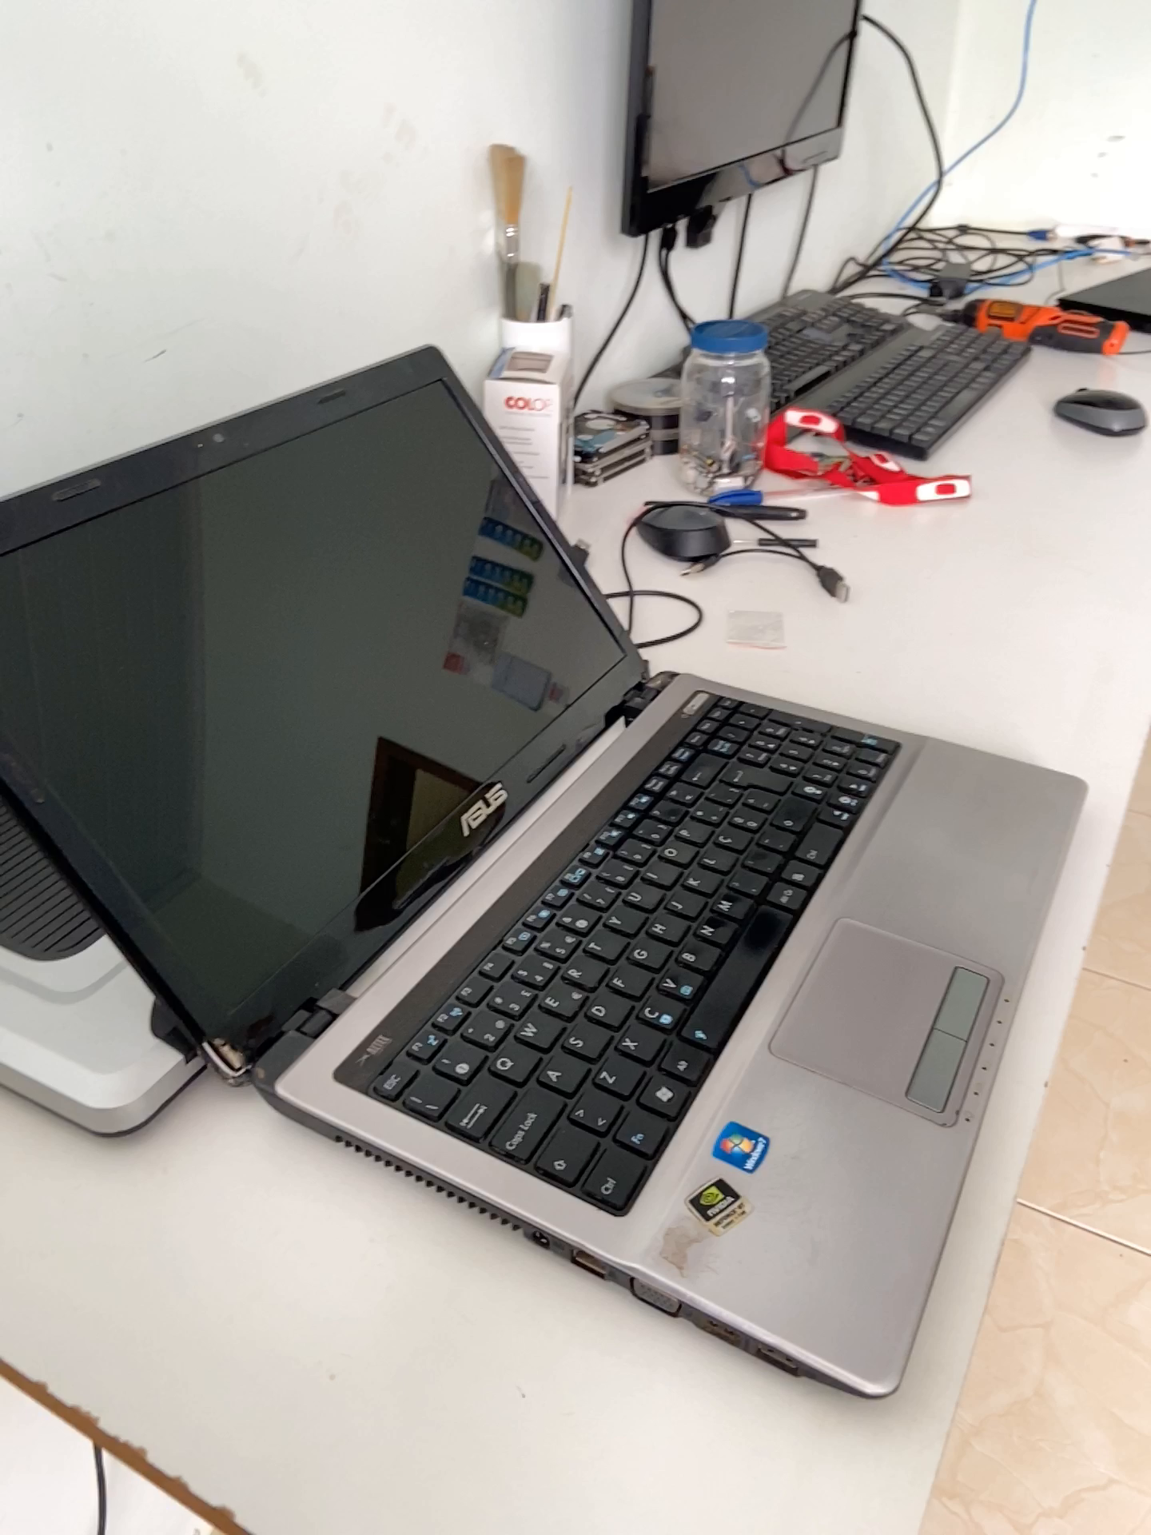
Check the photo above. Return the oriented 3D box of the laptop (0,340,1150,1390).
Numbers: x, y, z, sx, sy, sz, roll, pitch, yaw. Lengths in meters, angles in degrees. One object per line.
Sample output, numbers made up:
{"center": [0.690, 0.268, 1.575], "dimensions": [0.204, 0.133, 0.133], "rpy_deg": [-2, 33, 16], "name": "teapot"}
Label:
{"center": [-0.002, -0.034, 0.527], "dimensions": [0.415, 0.179, 0.378], "rpy_deg": [17, 36, 24], "name": "laptop"}
